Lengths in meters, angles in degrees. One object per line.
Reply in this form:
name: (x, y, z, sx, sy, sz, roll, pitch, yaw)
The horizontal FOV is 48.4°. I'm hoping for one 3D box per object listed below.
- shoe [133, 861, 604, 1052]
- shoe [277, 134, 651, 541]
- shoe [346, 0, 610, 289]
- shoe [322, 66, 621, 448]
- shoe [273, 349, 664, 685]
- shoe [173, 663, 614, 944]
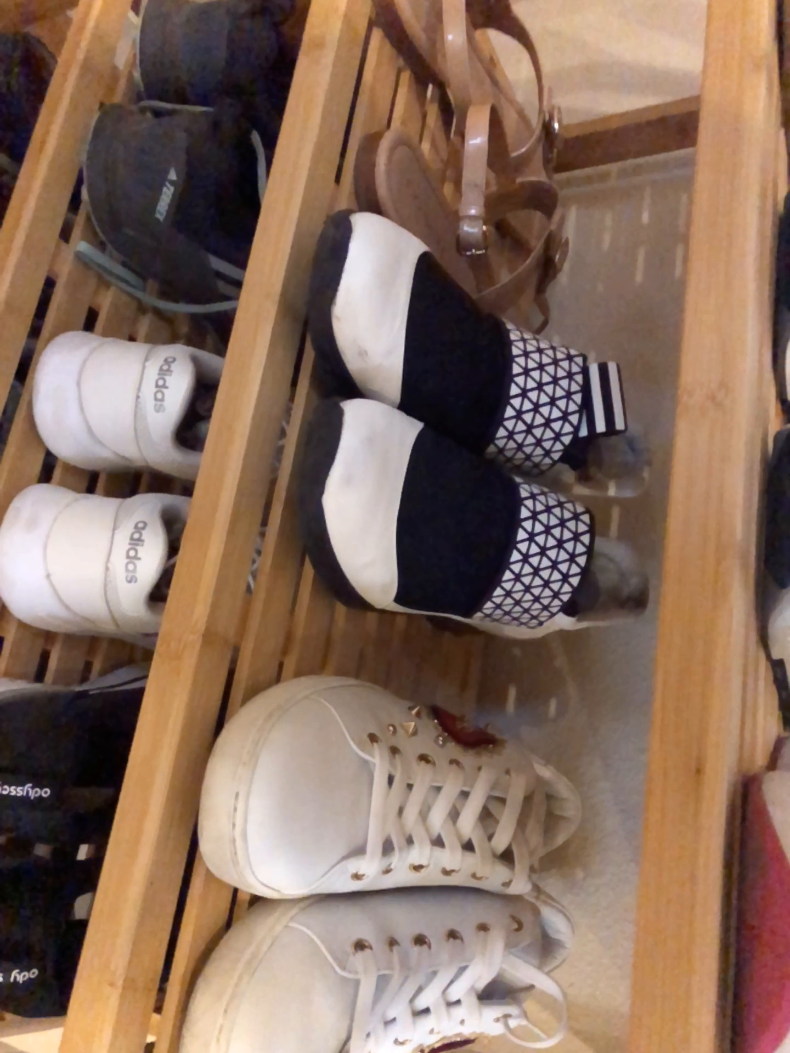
shoe: (0.011, 0.214, 0.398, 0.244, 0.068, 0.092, 21, 71, -51)
shoe: (0.057, -0.080, 0.482, 0.264, 0.068, 0.086, 32, 62, -48)
shoe: (0.074, -0.287, 0.625, 0.264, 0.074, 0.092, 34, 60, -54)
shoe: (0.068, -0.153, 0.576, 0.264, 0.081, 0.099, 34, 60, -54)
shoe: (0.063, 0.015, 0.476, 0.282, 0.076, 0.096, 28, 66, -53)
shoe: (0.022, 0.129, 0.431, 0.257, 0.068, 0.092, 21, 71, -51)
